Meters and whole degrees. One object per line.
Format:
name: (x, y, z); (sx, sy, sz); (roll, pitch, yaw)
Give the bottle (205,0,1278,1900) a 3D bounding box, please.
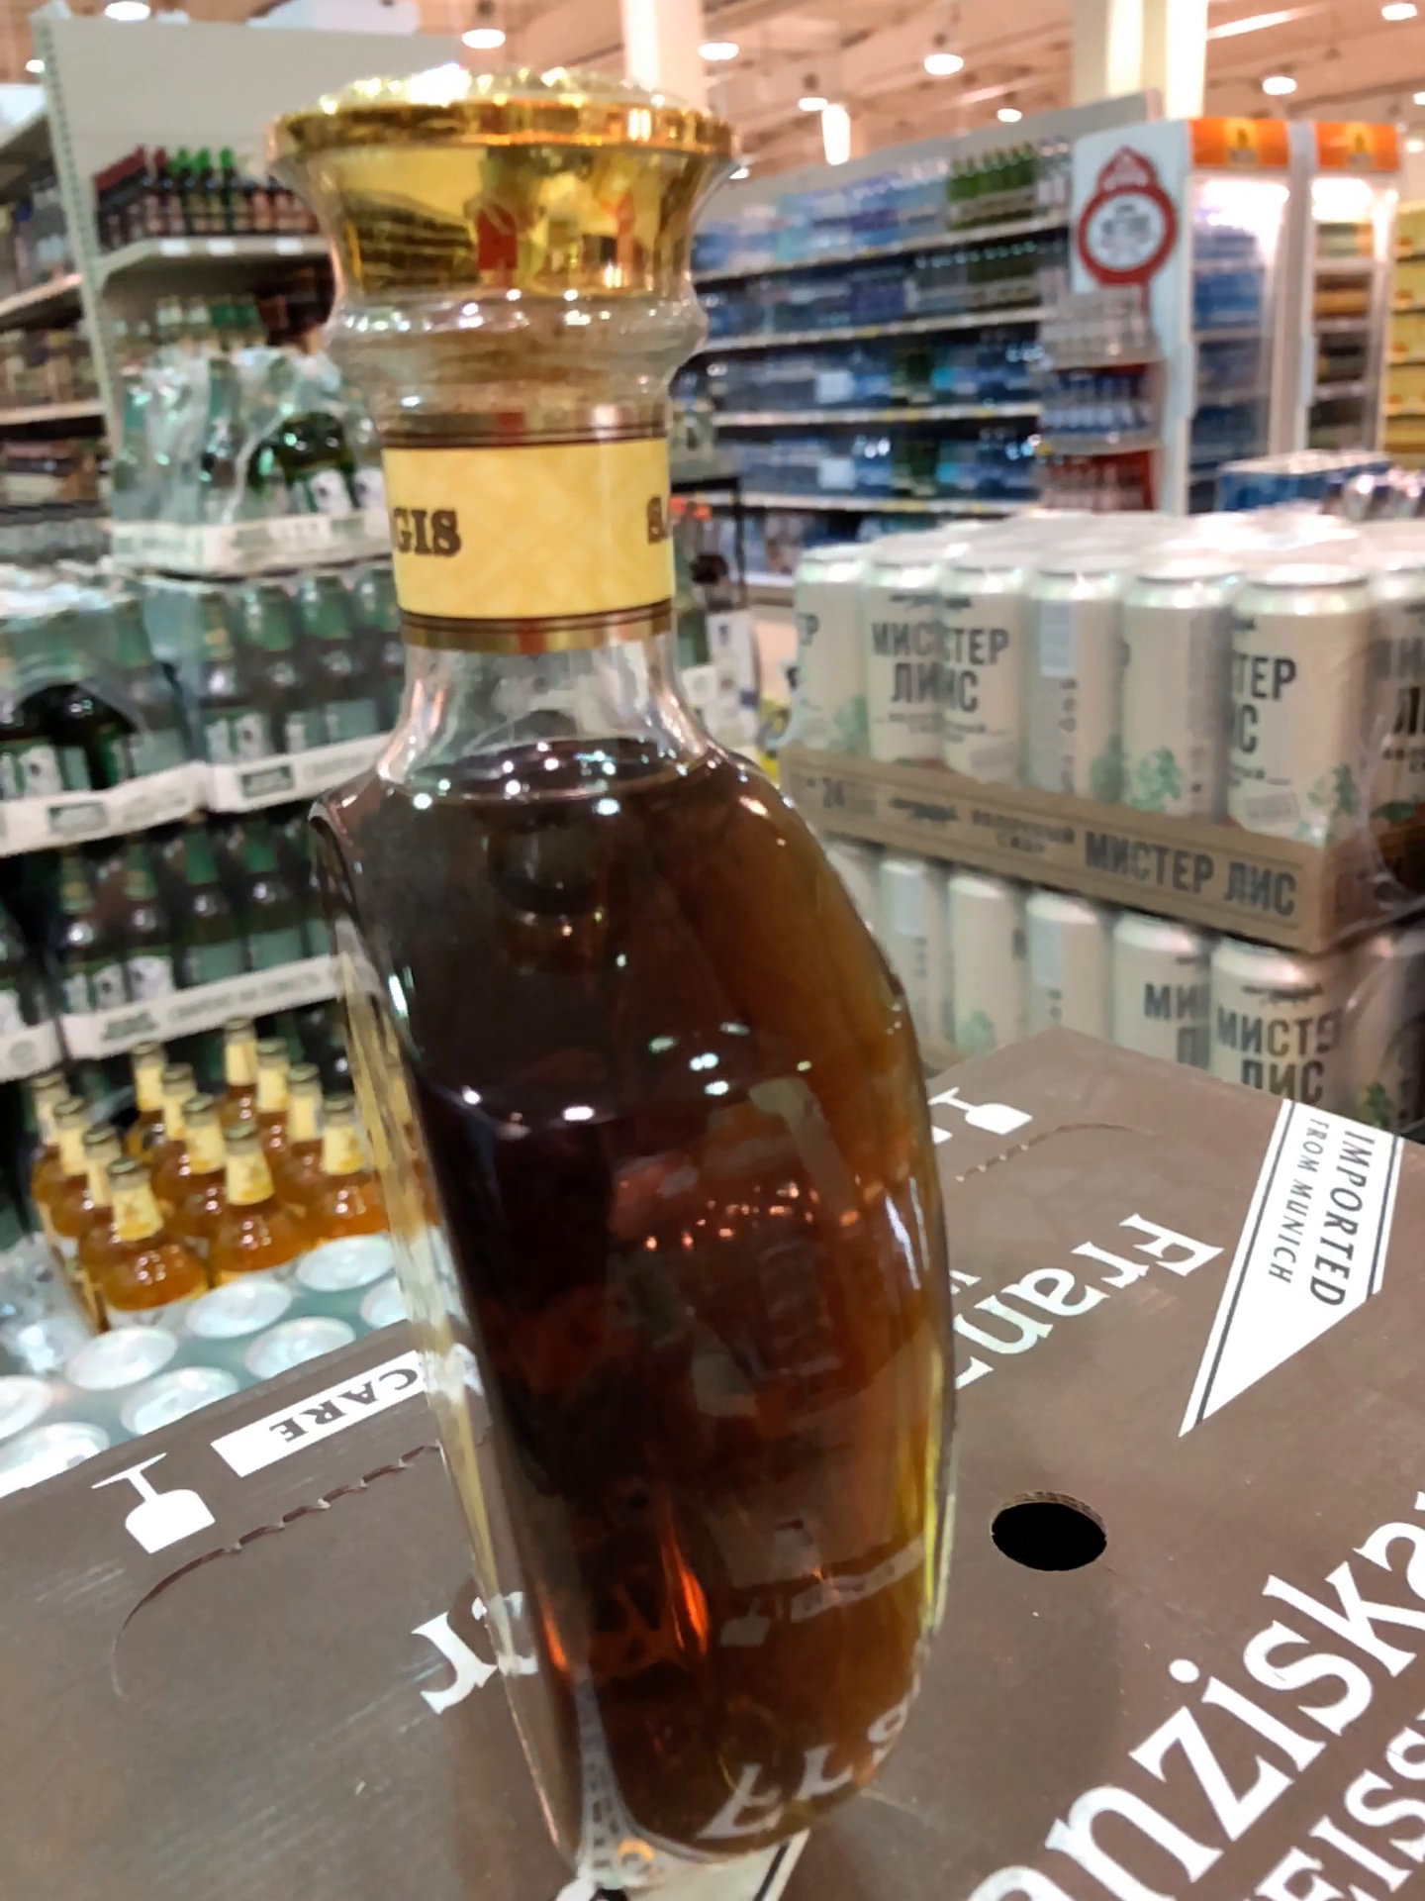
bottle: (-0.008, 0.012, 0.205); (0.070, 0.209, 0.141); (-10, 20, -18)
